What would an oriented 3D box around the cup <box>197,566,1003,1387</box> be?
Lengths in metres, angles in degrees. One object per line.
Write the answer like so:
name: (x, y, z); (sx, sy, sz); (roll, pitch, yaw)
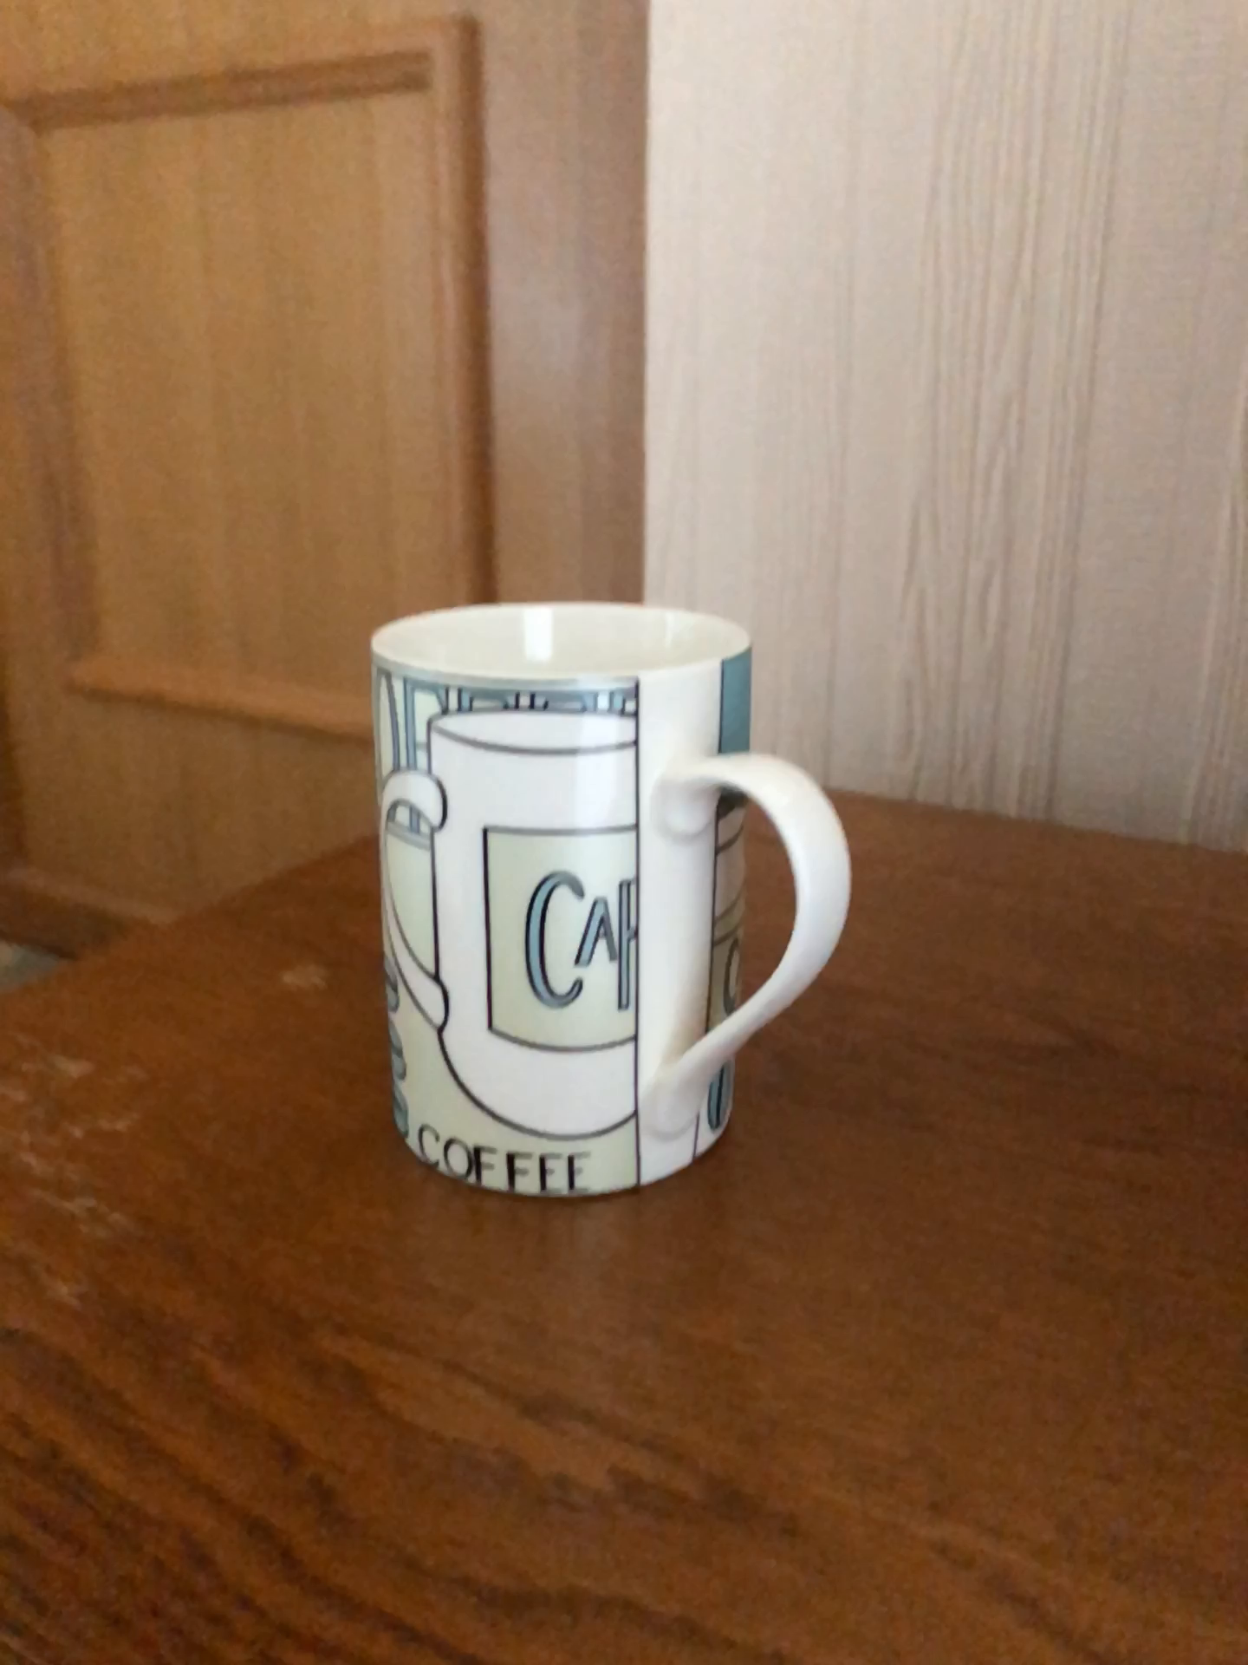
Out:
cup: (-0.009, 0.011, 0.257); (0.080, 0.100, 0.120); (-17, 25, -41)
